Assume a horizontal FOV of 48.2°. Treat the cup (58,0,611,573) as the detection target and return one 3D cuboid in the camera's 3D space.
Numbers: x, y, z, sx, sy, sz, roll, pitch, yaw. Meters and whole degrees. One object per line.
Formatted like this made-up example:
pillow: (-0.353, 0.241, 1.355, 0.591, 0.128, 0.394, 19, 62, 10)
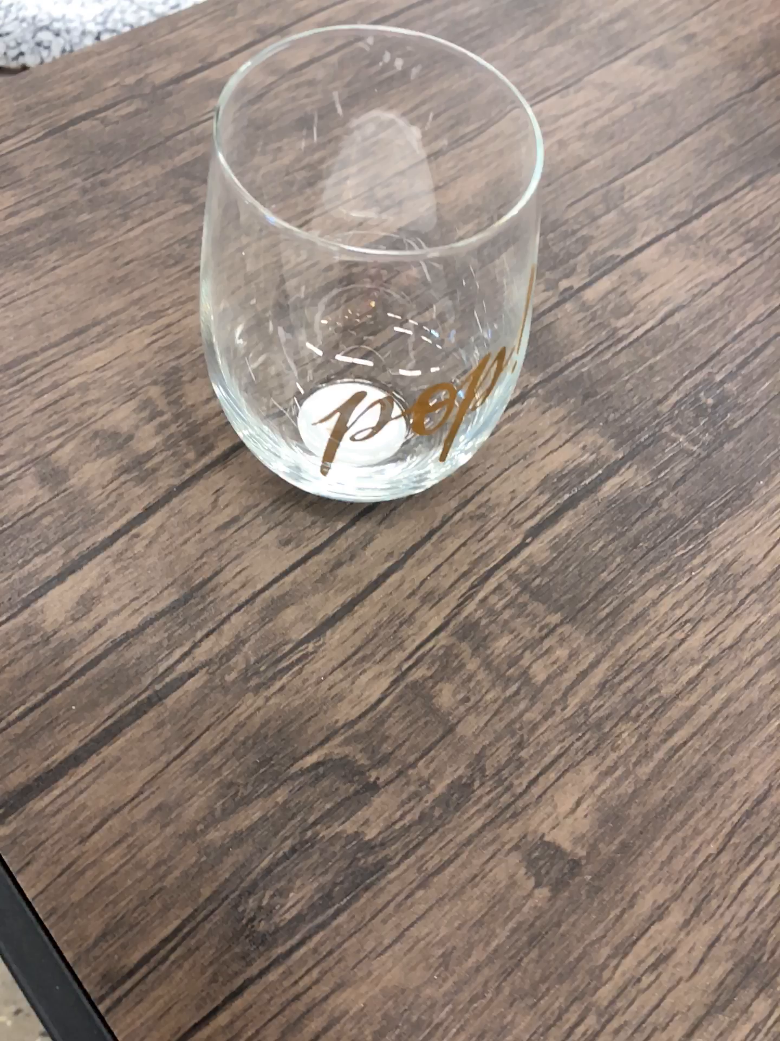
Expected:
cup: (-0.013, -0.062, 0.239, 0.100, 0.130, 0.100, 2, 61, -4)
